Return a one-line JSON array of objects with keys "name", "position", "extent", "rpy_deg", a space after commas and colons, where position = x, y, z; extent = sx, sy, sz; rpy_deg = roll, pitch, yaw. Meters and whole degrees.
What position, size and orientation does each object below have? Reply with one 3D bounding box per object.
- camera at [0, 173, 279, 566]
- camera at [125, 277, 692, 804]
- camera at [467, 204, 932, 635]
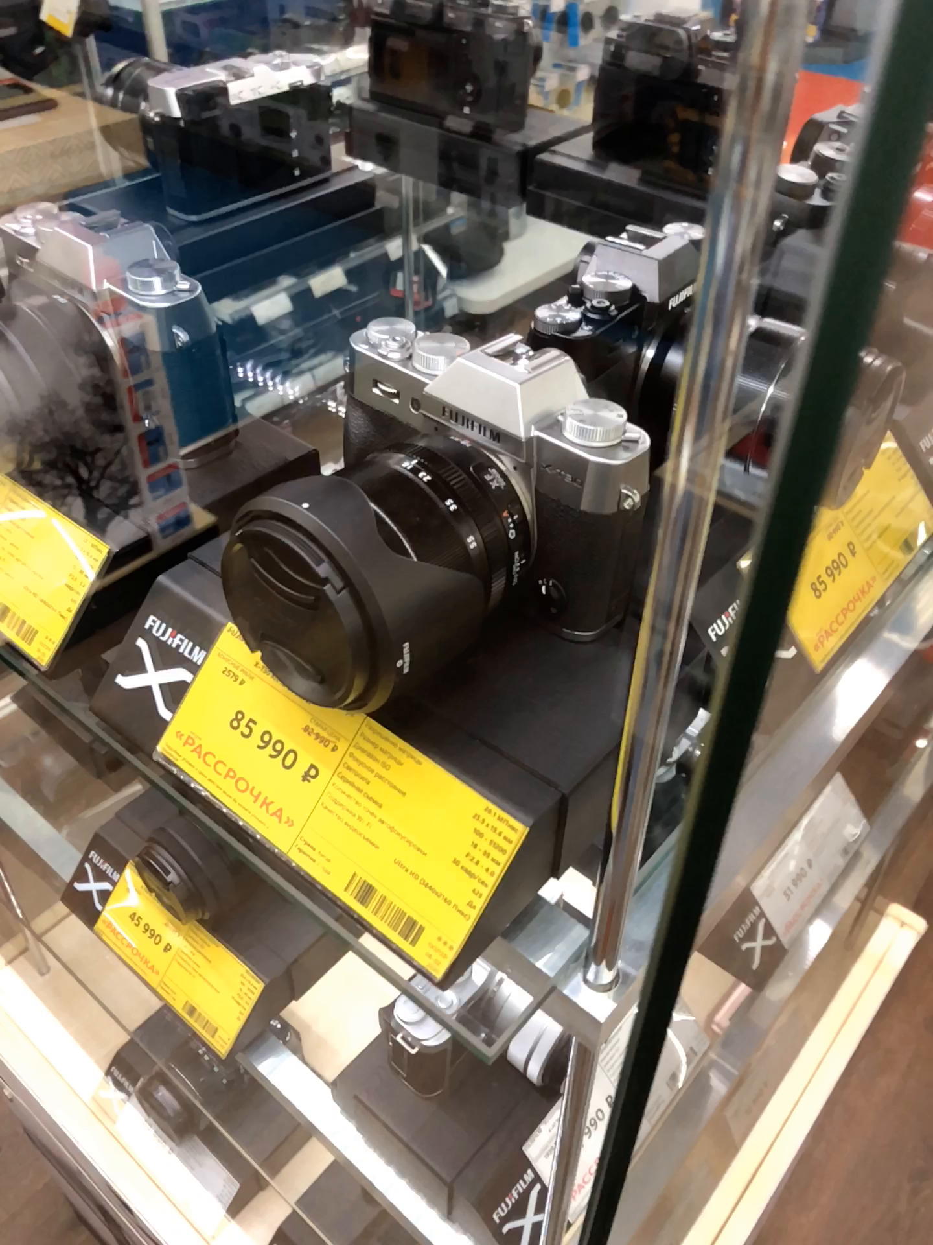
[{"name": "camera", "position": [-0.165, -0.110, 0.422], "extent": [0.135, 0.088, 0.104], "rpy_deg": [31, 48, 29]}, {"name": "camera", "position": [-0.017, -0.036, 0.339], "extent": [0.121, 0.088, 0.121], "rpy_deg": [30, 48, 28]}, {"name": "camera", "position": [0.095, -0.091, 0.418], "extent": [0.123, 0.088, 0.145], "rpy_deg": [29, 48, 28]}]
